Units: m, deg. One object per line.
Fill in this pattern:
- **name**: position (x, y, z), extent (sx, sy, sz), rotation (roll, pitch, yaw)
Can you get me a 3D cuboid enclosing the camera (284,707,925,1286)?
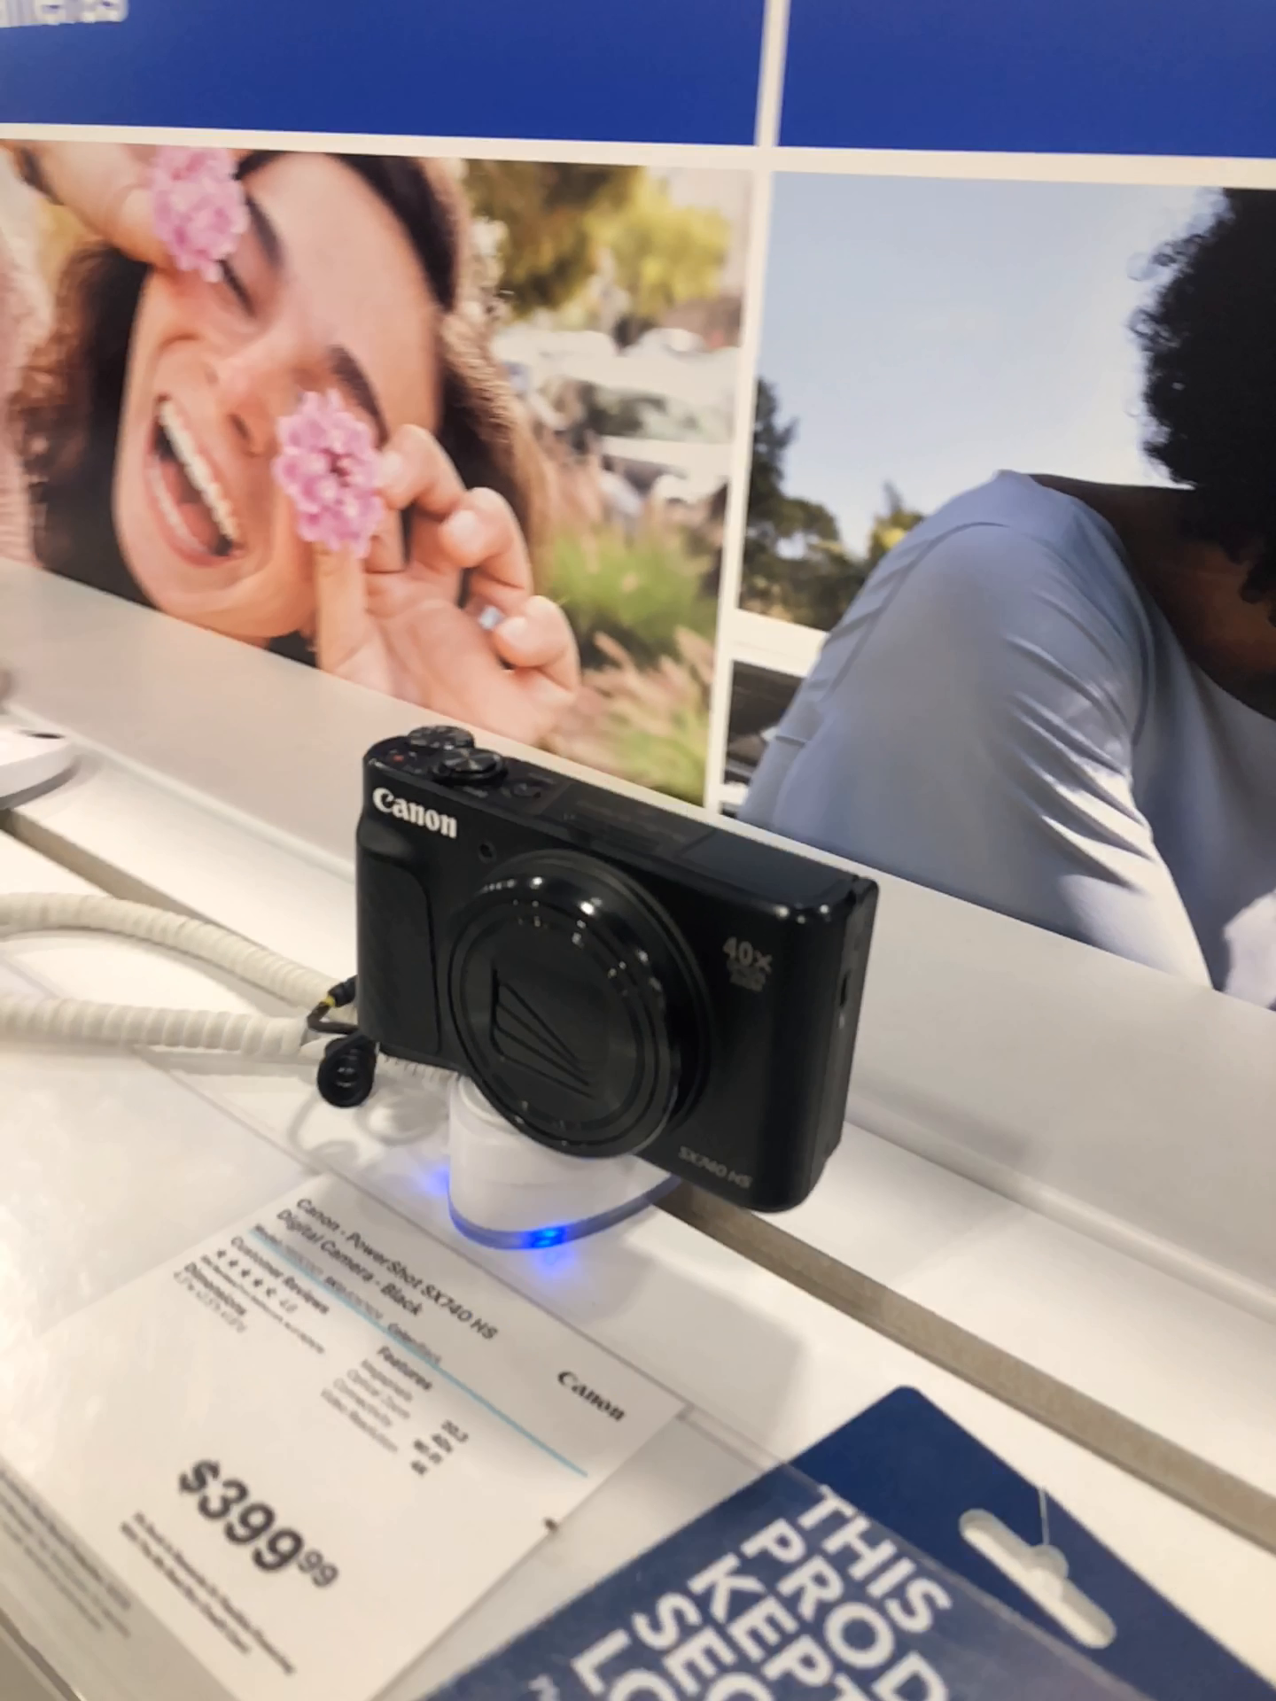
- **camera**: position (-0.011, 0.023, 0.280), extent (0.120, 0.070, 0.040), rotation (18, 27, 30)
